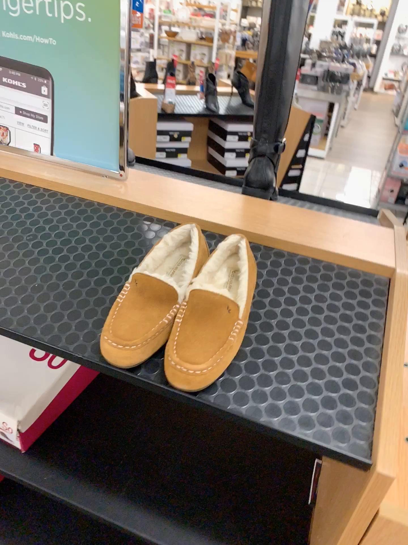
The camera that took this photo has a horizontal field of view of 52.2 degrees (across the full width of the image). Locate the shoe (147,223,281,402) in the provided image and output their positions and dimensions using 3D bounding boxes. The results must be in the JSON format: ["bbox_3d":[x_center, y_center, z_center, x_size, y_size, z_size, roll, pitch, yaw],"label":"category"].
[{"bbox_3d":[0.024,0.036,0.556,0.090,0.060,0.251,16,44,15],"label":"shoe"}]

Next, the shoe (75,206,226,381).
[{"bbox_3d":[-0.059,0.012,0.584,0.090,0.060,0.272,16,44,15],"label":"shoe"}]
